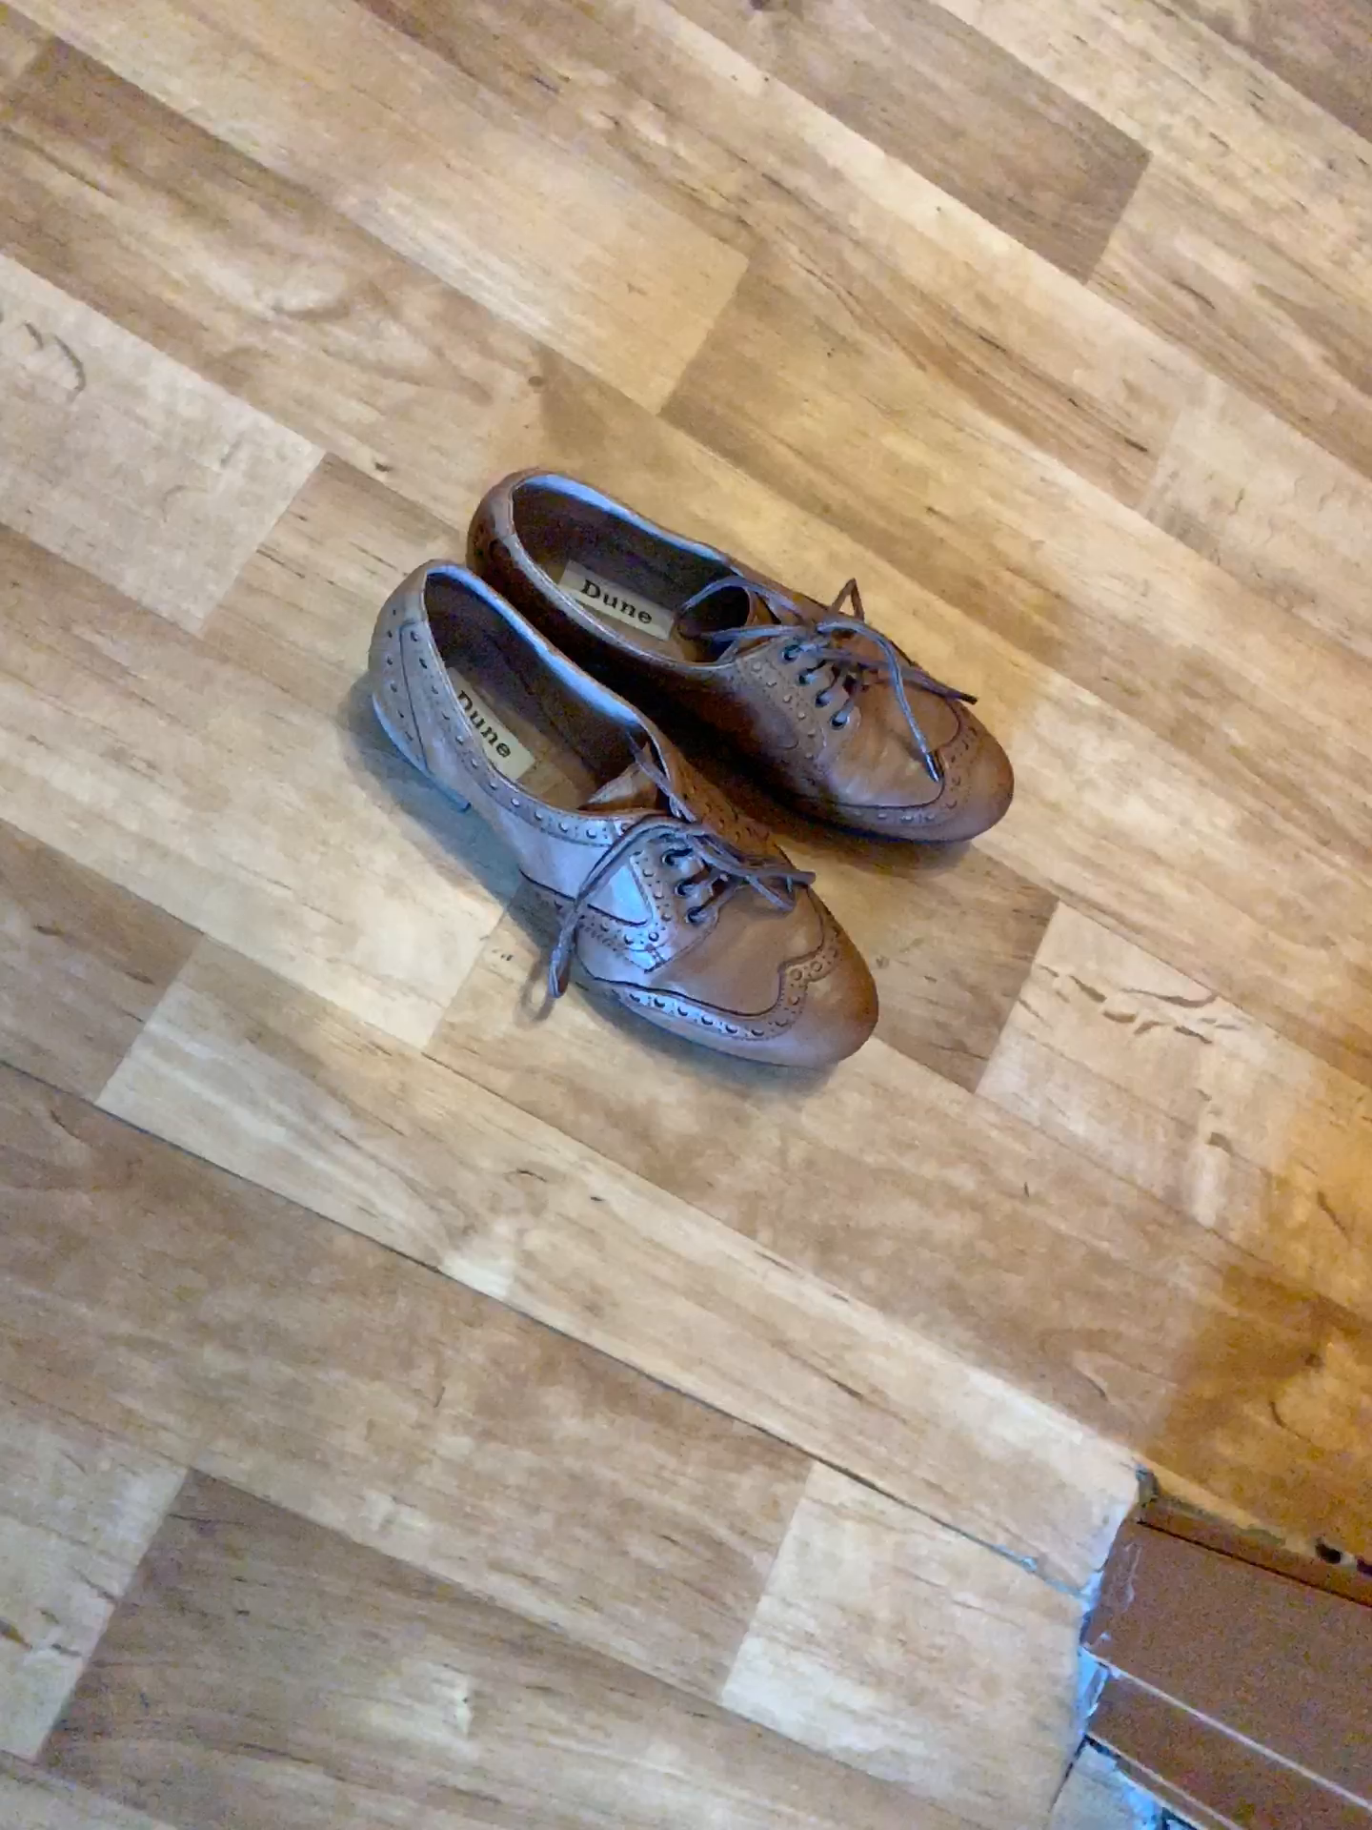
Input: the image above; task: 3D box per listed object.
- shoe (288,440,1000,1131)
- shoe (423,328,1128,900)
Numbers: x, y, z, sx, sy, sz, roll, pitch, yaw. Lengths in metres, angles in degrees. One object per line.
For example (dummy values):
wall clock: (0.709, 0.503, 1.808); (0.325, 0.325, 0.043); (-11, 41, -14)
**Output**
shoe: (-0.024, -0.036, 0.523); (0.240, 0.120, 0.090); (41, 71, -3)
shoe: (0.027, -0.102, 0.536); (0.230, 0.120, 0.080); (25, 73, -9)
